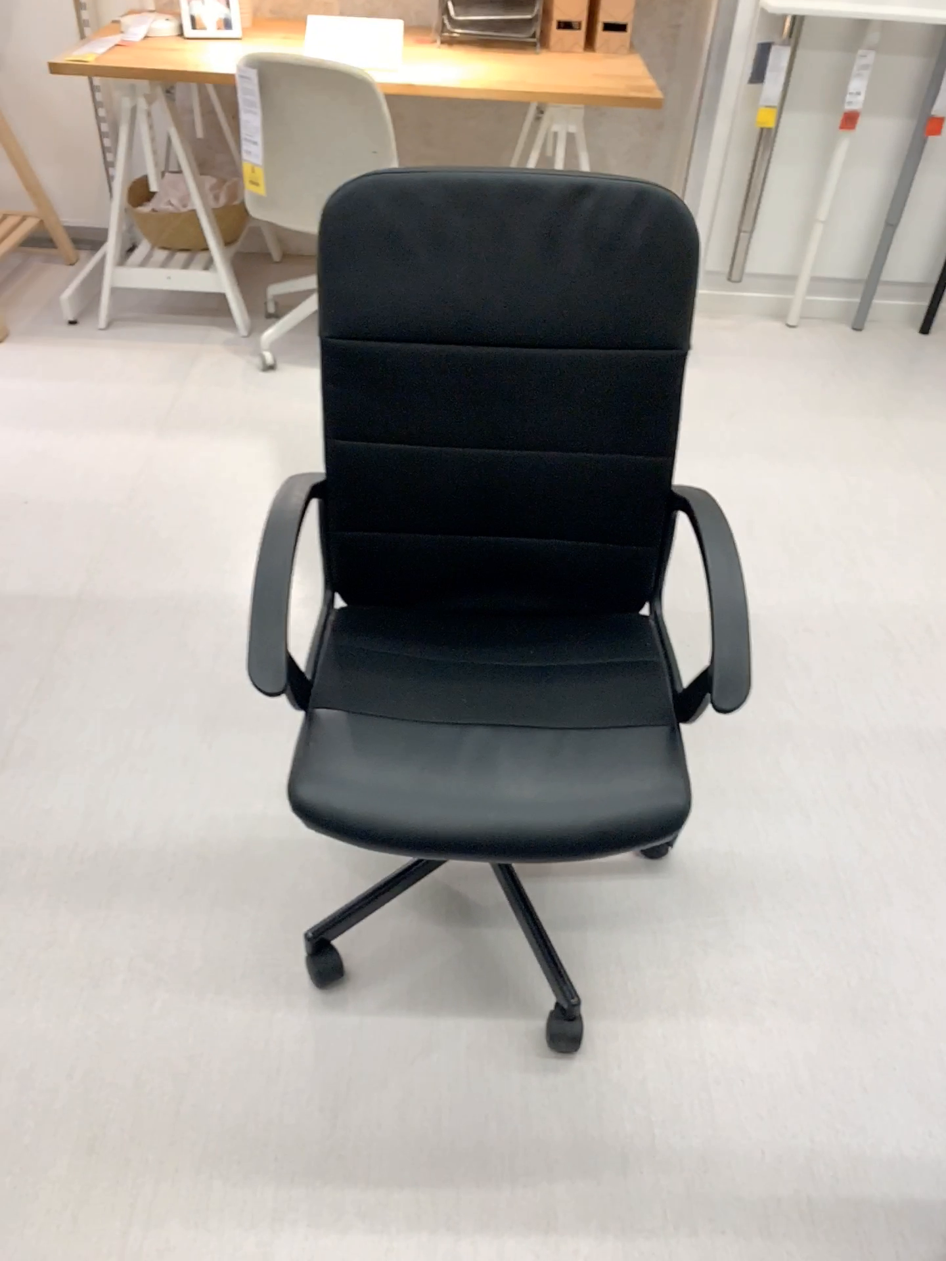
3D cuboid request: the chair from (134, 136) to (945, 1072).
[{"bbox_3d":[0.044,0.021,1.200,0.610,0.995,0.583,1,40,-4],"label":"chair"}]
